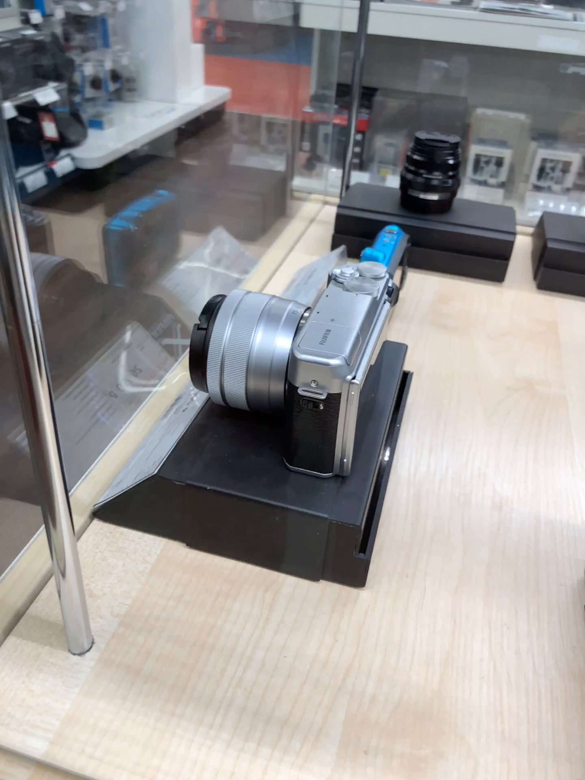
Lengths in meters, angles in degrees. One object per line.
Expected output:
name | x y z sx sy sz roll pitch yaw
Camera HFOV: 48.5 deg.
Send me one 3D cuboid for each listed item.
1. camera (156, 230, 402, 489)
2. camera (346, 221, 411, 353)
camera | -0.002 -0.024 0.342 0.093 0.070 0.120 12 35 11
camera | 0.069 -0.085 0.517 0.025 0.064 0.107 12 35 11
